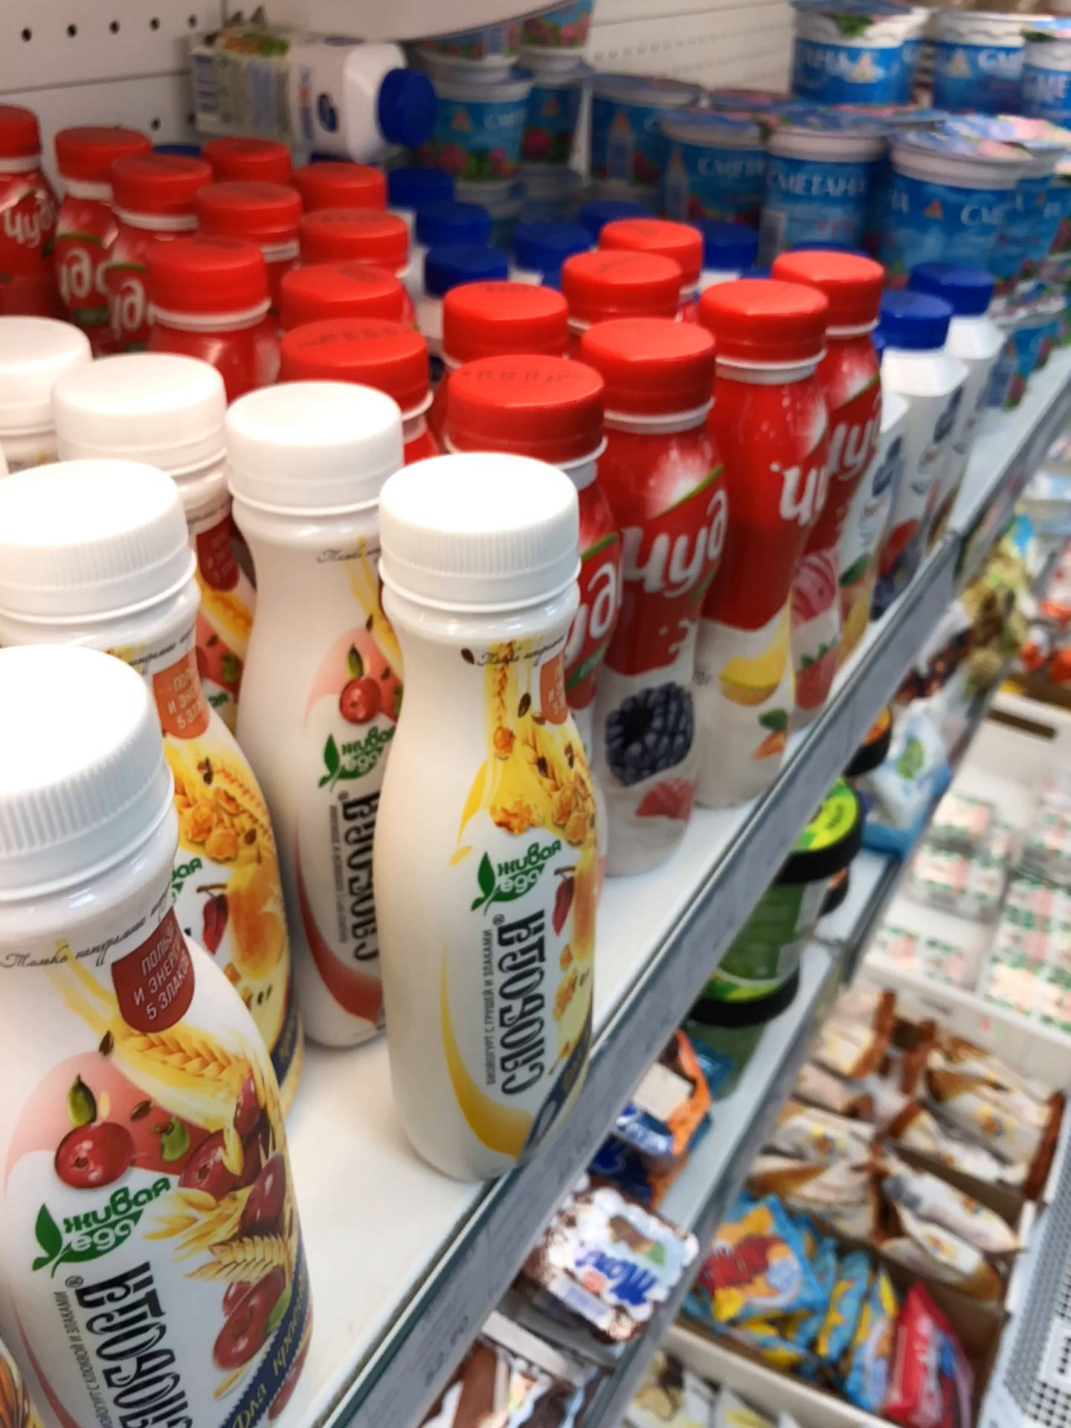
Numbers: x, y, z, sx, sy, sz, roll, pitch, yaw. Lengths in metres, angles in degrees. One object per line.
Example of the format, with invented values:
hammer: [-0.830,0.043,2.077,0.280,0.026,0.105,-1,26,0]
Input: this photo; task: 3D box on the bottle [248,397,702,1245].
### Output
bottle: [-0.014,0.031,0.291,0.060,0.189,0.070,22,39,26]
